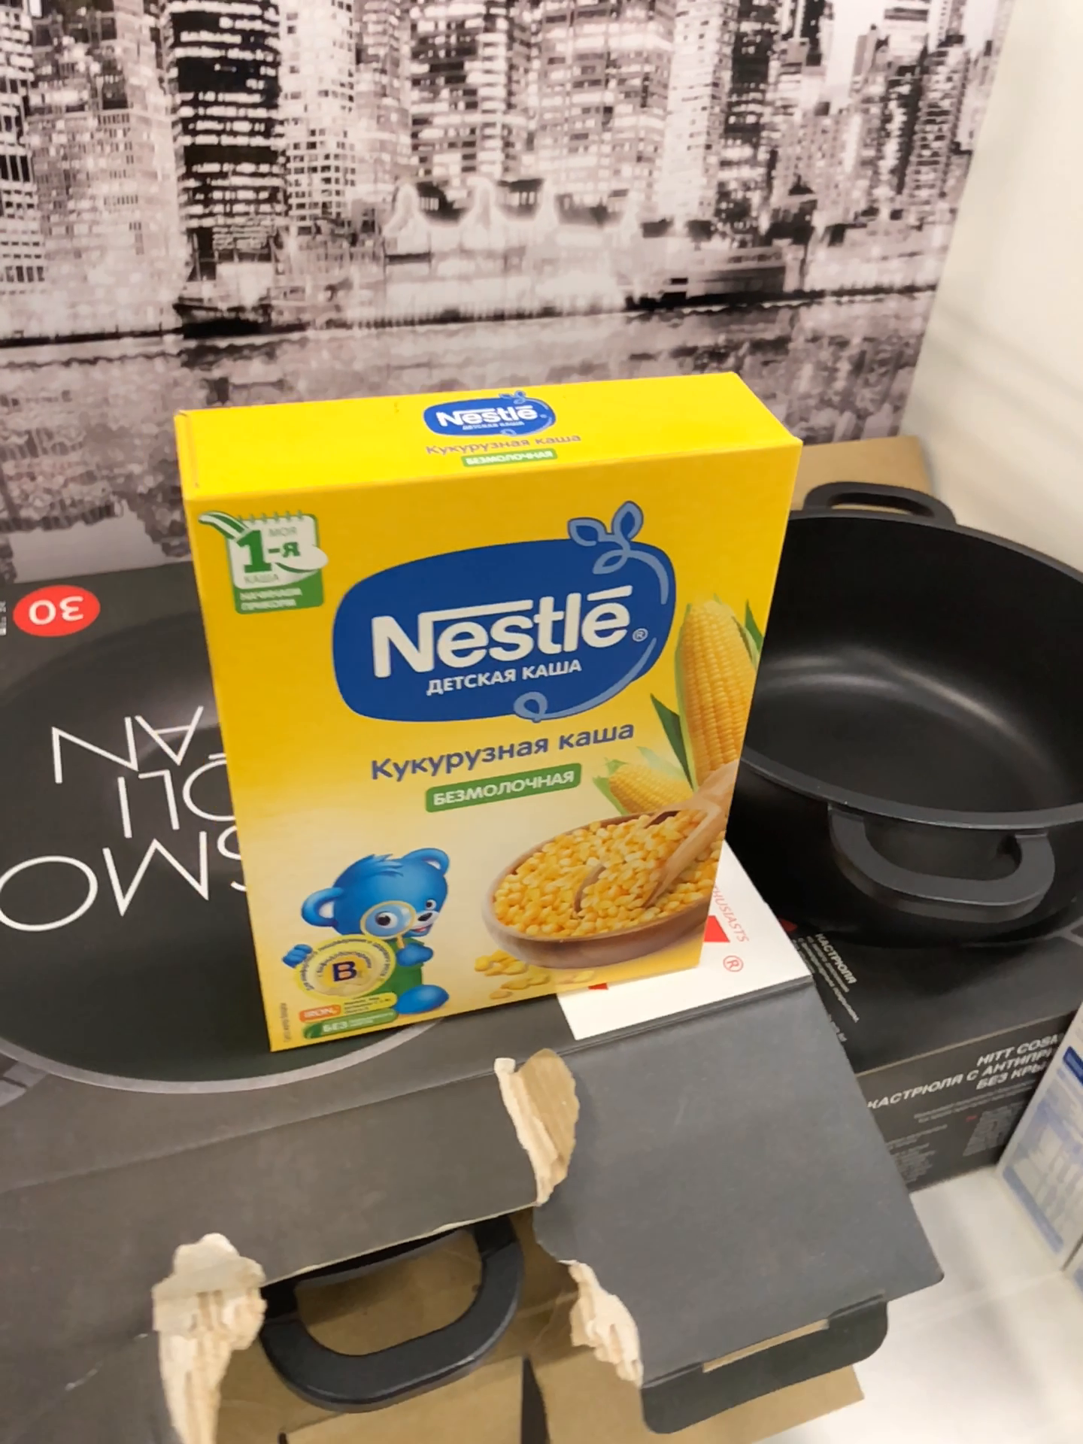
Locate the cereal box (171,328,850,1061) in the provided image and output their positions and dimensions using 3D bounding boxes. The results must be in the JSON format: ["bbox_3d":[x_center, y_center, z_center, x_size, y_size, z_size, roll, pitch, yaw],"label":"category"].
[{"bbox_3d":[-0.012,0.000,0.340,0.150,0.199,0.050,-8,40,-14],"label":"cereal box"}]
